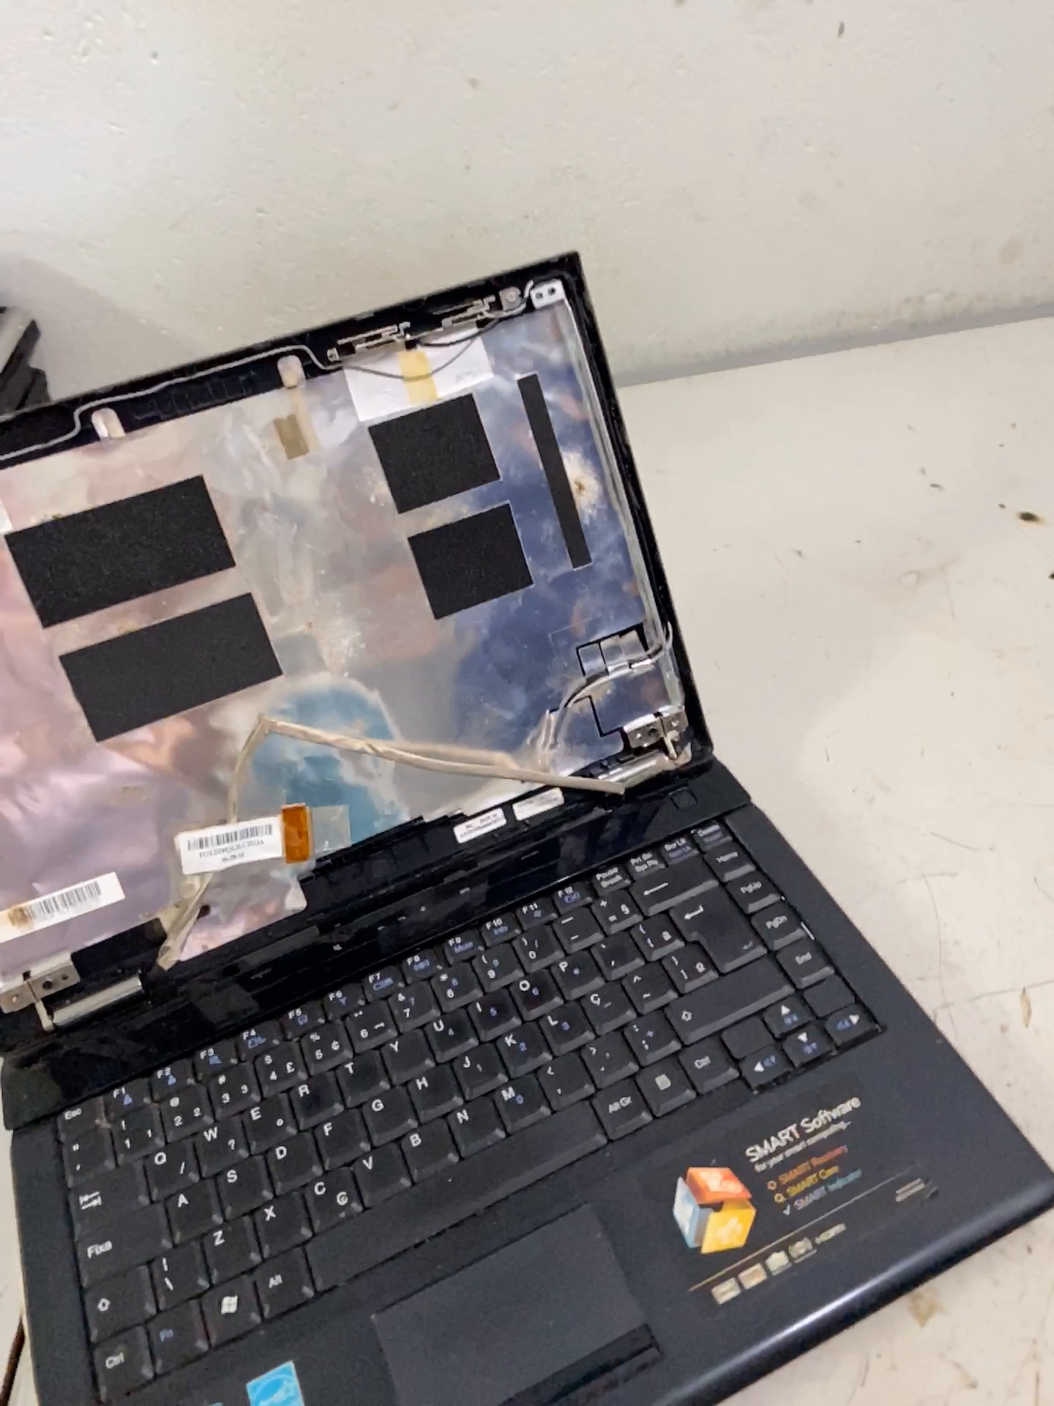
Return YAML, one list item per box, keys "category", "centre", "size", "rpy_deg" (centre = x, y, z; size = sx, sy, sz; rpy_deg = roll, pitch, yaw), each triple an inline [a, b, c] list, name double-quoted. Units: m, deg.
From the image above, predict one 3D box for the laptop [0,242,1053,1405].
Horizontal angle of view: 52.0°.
- category: "laptop"
  centre: [-0.049, 0.048, 0.370]
  size: [0.333, 0.206, 0.337]
  rpy_deg: [-22, 46, -12]
